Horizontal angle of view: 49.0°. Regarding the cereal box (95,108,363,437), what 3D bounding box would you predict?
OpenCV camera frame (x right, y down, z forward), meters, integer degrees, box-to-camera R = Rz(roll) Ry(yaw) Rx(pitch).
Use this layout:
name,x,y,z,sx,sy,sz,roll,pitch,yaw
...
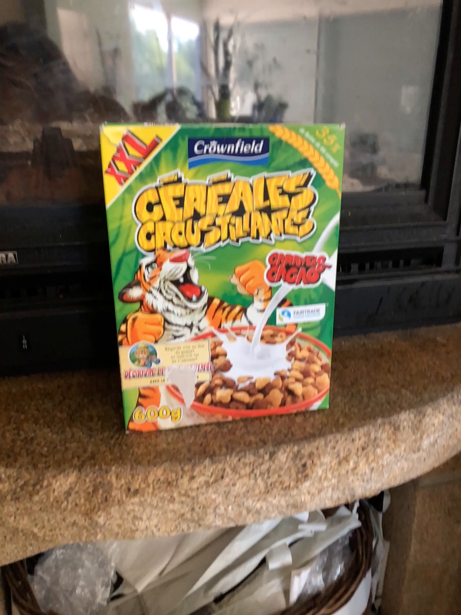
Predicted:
name,x,y,z,sx,sy,sz,roll,pitch,yaw
cereal box,-0.005,-0.036,0.450,0.200,0.259,0.090,-5,20,-14
